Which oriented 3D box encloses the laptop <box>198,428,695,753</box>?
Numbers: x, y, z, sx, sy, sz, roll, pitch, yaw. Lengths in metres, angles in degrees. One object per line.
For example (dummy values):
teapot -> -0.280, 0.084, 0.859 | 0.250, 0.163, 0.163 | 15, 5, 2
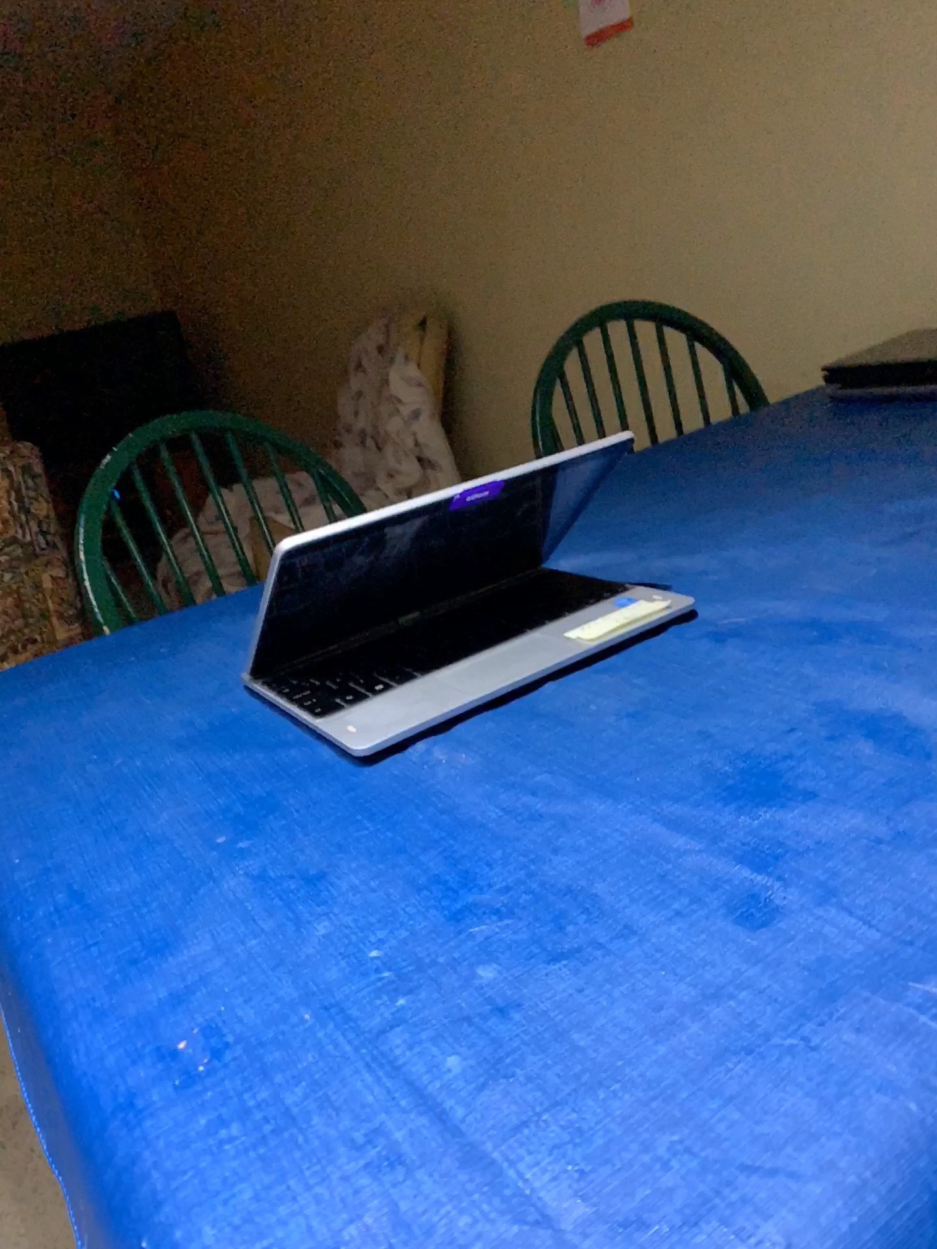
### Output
laptop -> -0.017, -0.046, 0.690 | 0.280, 0.122, 0.208 | -21, 20, -27
